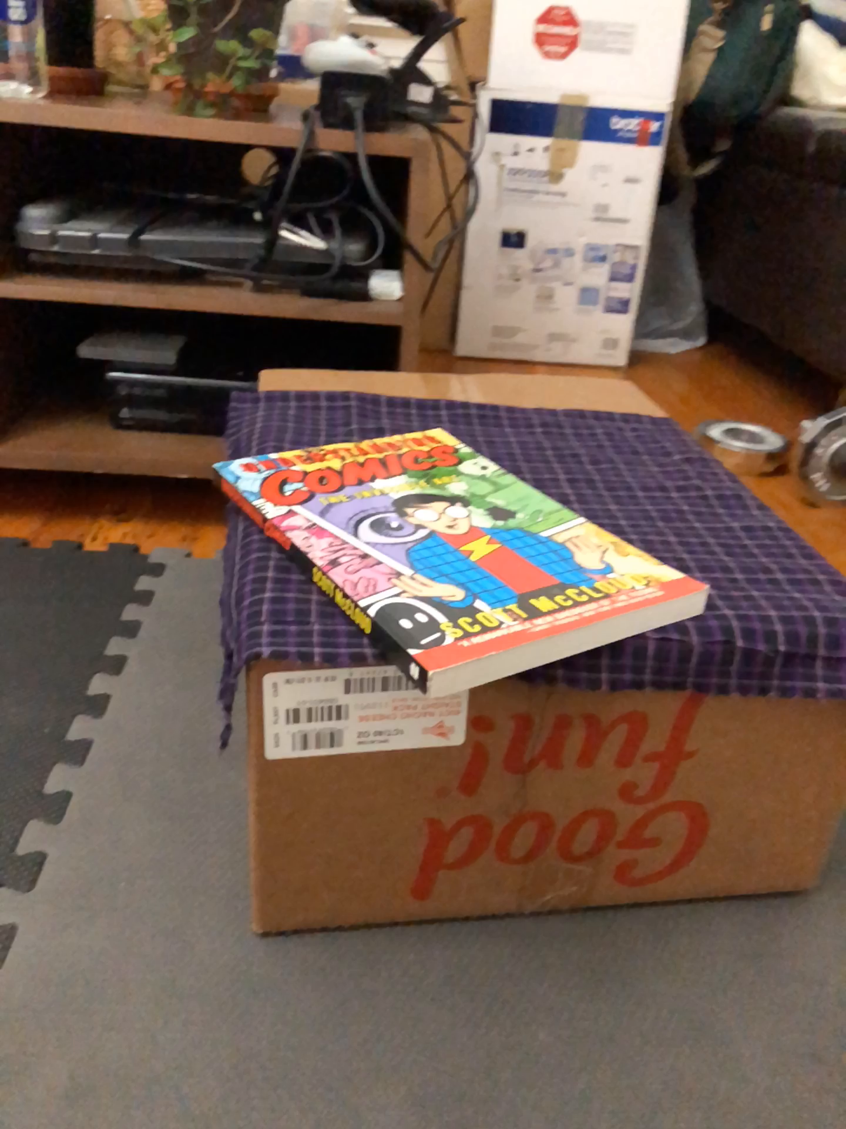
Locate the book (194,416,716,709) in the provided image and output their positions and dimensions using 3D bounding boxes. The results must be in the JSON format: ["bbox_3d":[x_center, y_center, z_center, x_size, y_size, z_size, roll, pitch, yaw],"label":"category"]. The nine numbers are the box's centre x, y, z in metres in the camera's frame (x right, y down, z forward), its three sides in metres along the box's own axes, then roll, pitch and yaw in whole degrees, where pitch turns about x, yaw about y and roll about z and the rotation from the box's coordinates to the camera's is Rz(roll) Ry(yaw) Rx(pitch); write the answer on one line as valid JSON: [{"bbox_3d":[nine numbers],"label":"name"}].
[{"bbox_3d":[0.001,-0.023,0.523,0.170,0.020,0.271,-13,32,-30],"label":"book"}]
